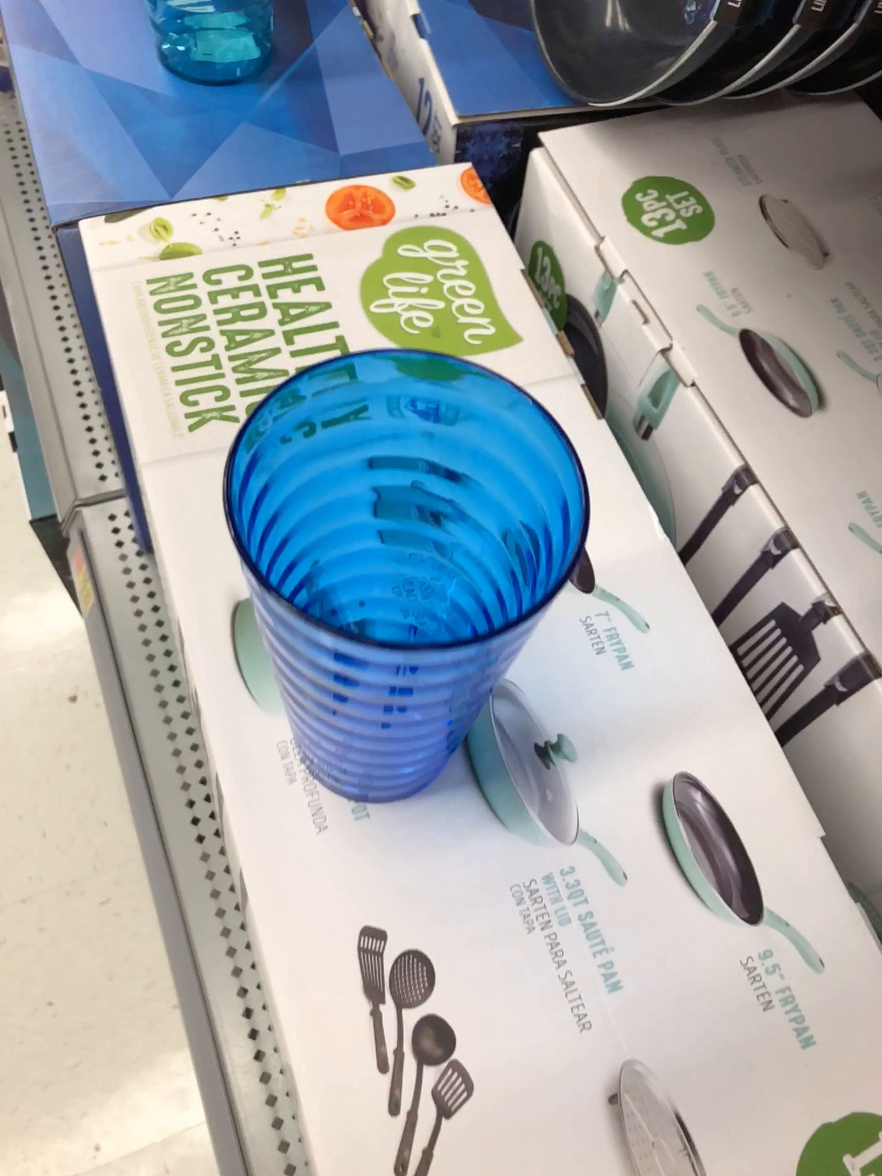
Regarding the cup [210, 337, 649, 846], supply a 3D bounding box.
[{"bbox_3d":[-0.012,0.009,0.283,0.091,0.134,0.087,2,61,-4],"label":"cup"}]
